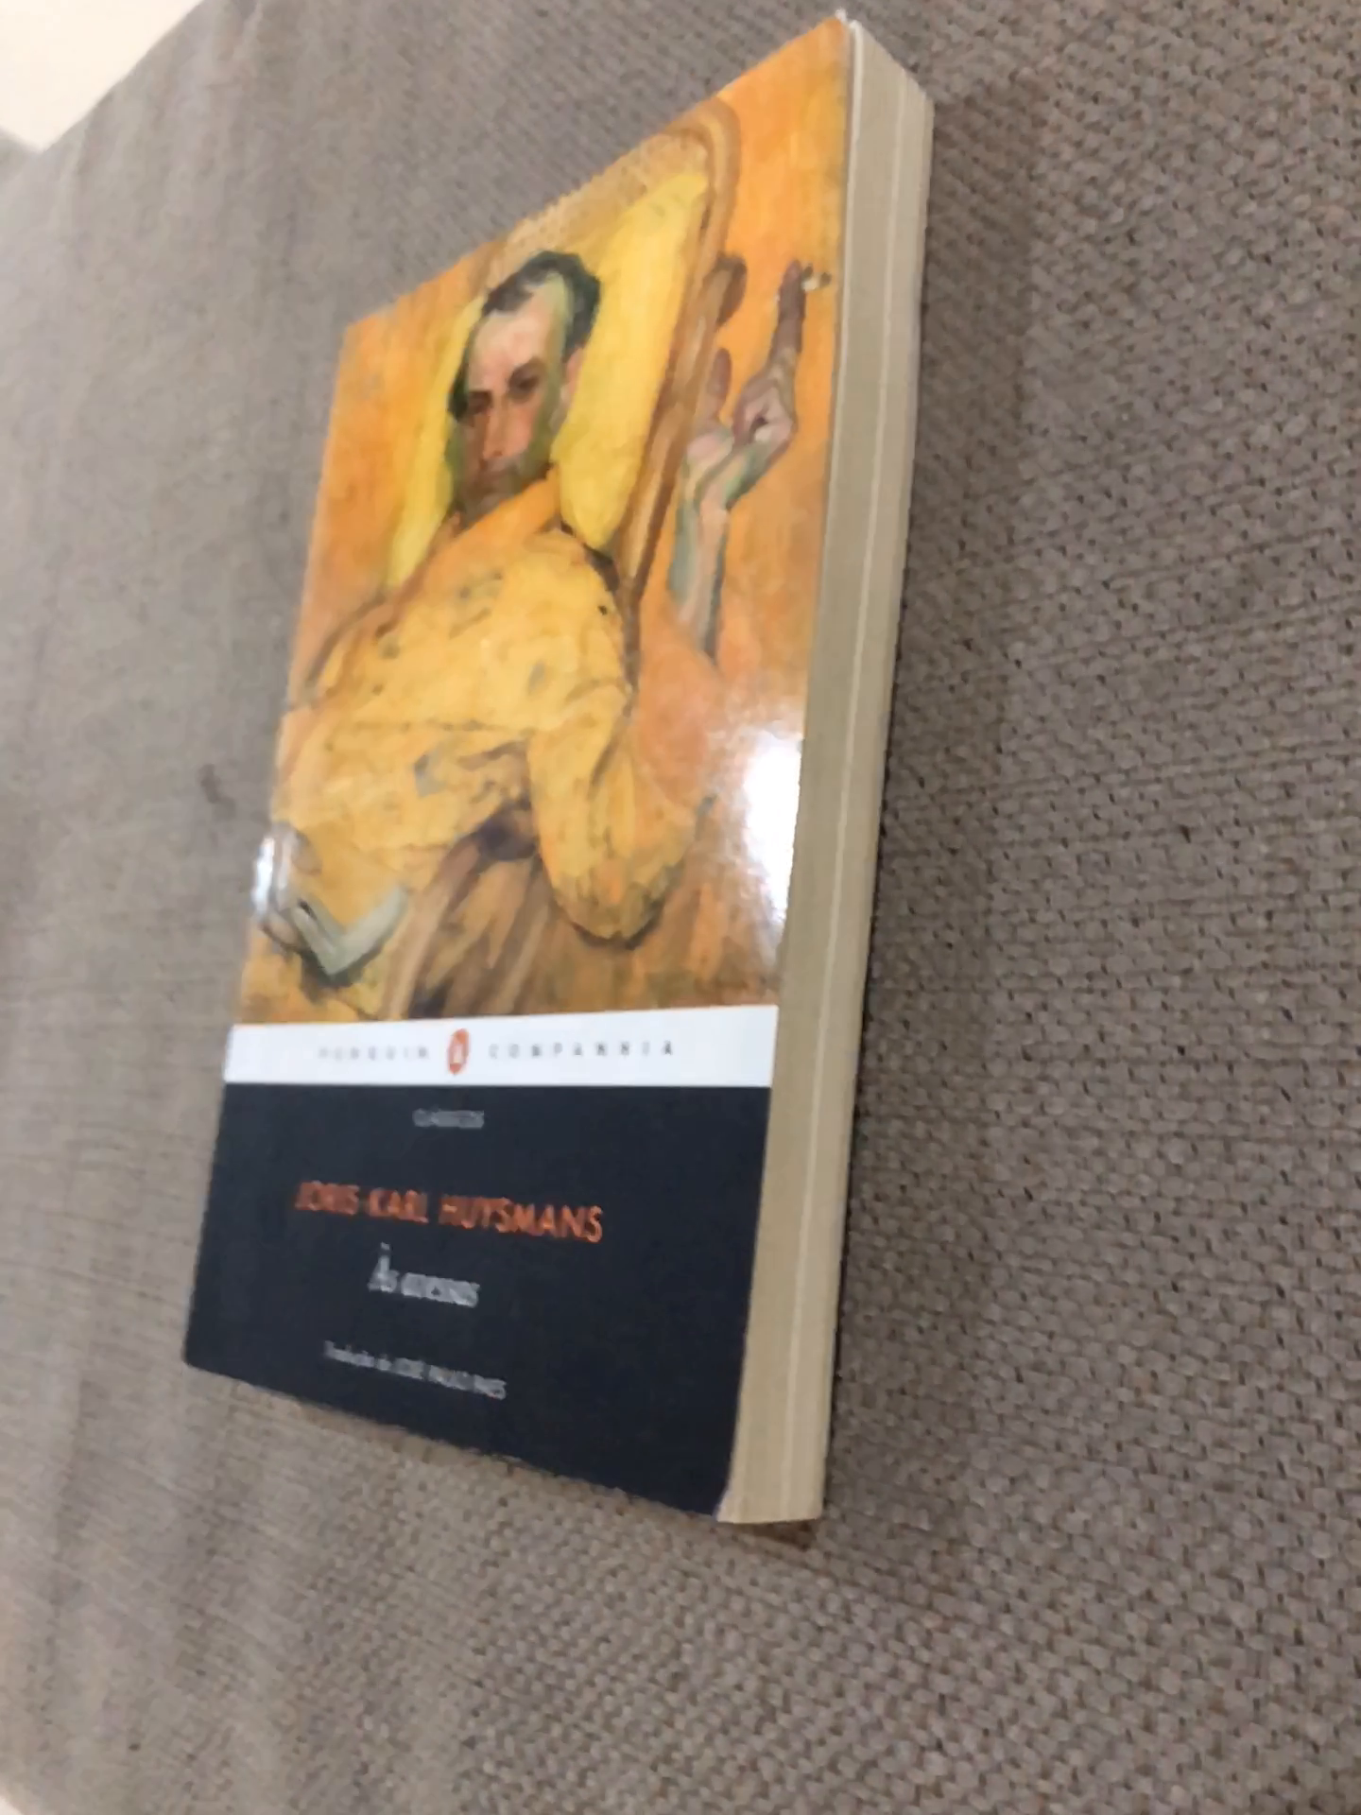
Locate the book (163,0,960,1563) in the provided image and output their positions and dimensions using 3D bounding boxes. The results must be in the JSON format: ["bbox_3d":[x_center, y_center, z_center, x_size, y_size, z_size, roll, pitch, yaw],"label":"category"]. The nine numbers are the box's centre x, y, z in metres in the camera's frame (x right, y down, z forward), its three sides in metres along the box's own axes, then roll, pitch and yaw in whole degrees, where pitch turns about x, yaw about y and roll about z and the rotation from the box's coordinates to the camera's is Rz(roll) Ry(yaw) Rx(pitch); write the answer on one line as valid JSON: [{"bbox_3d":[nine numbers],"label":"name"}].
[{"bbox_3d":[-0.024,-0.020,0.235,0.131,0.023,0.195,-6,75,46],"label":"book"}]
